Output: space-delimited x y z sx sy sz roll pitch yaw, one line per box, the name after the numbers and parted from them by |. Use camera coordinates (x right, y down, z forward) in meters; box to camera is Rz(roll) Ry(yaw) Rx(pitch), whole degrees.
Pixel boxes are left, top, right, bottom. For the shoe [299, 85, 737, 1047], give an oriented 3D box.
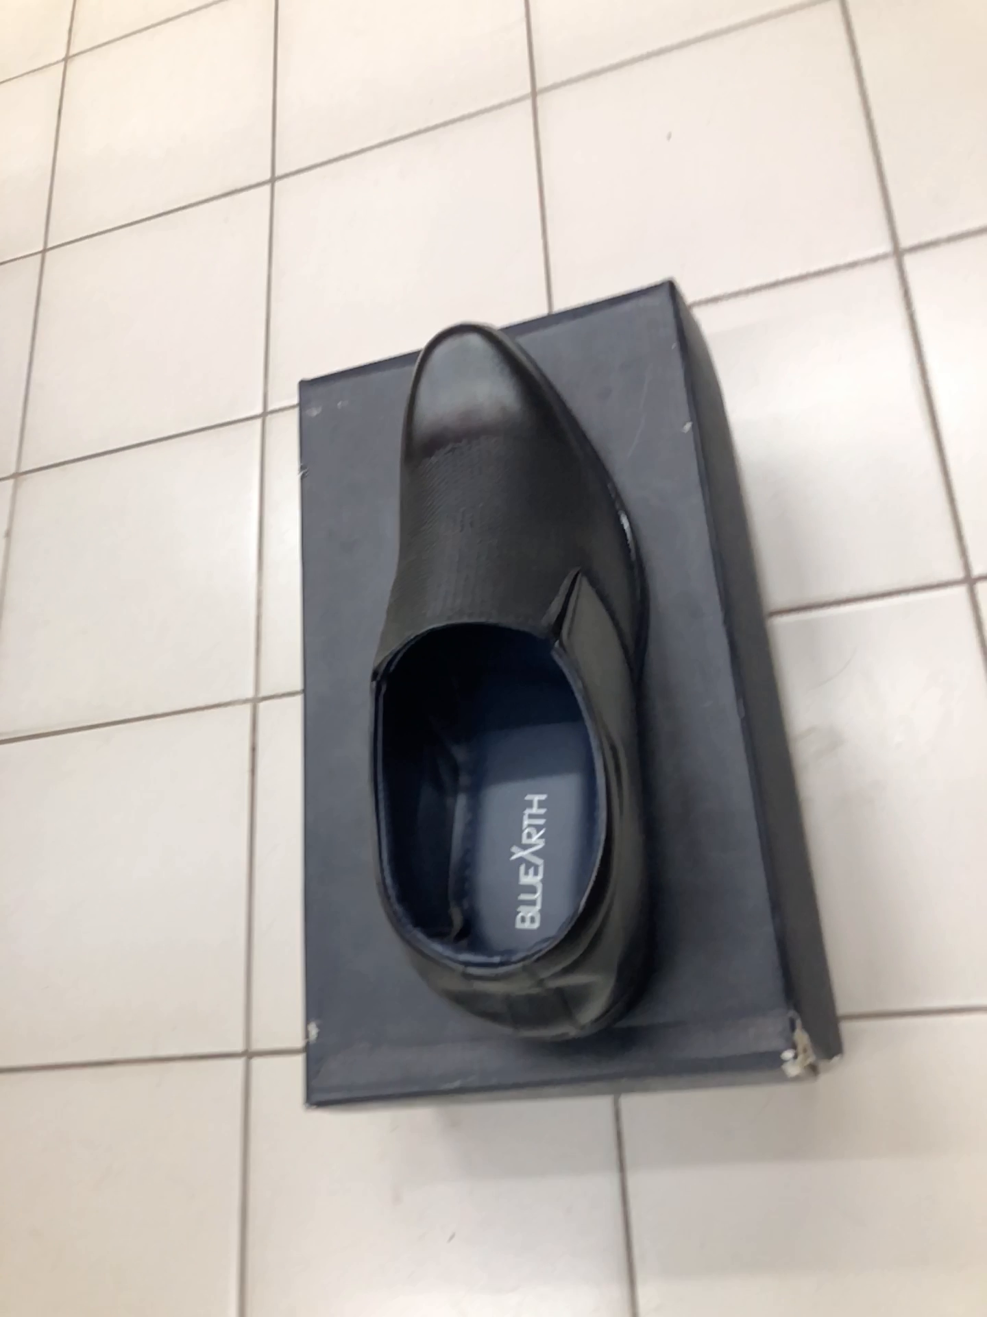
0.006 -0.033 0.430 0.100 0.130 0.341 -13 68 16 | shoe
